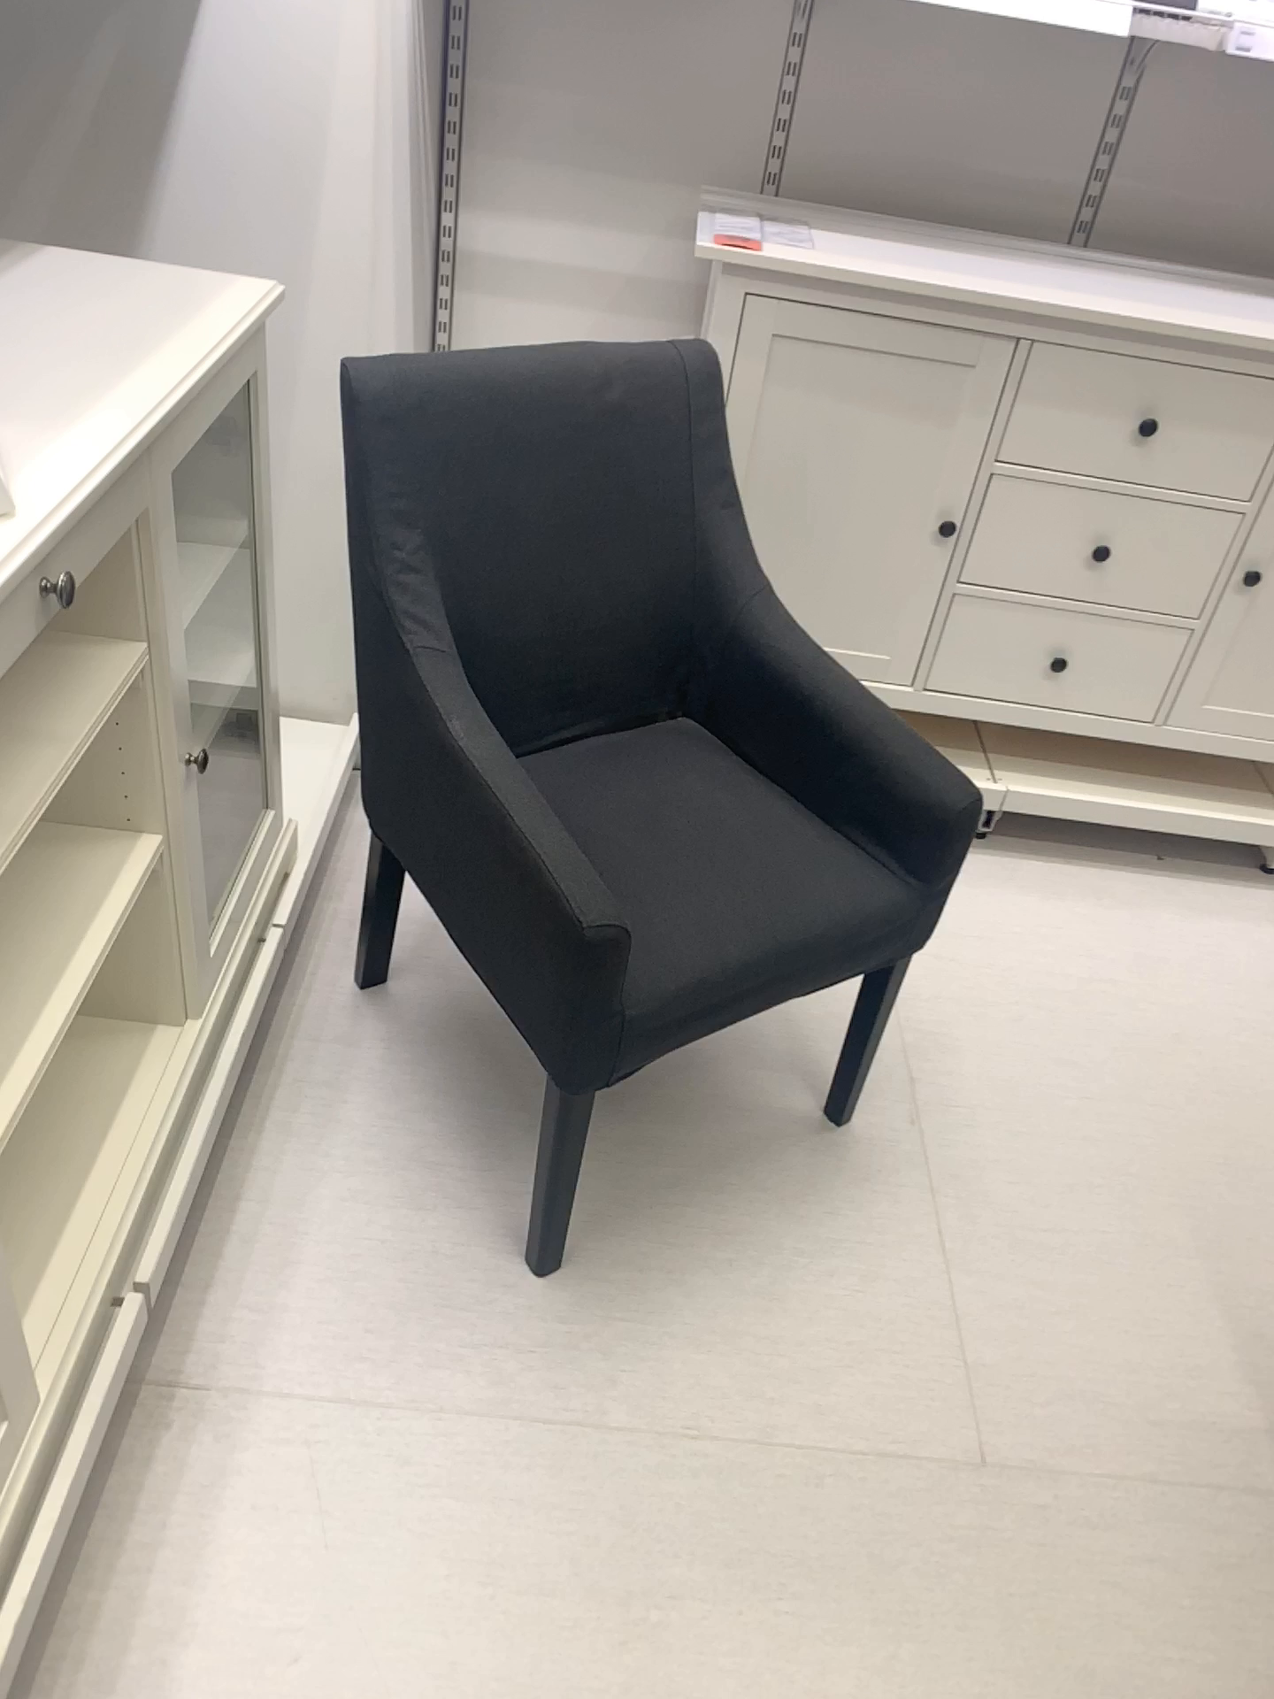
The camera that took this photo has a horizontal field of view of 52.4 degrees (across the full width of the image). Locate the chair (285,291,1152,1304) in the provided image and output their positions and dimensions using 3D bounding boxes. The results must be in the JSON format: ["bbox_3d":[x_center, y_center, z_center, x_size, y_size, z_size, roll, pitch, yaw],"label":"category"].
[{"bbox_3d":[0.013,-0.096,1.600,0.661,0.946,0.611,-17,44,-32],"label":"chair"}]
